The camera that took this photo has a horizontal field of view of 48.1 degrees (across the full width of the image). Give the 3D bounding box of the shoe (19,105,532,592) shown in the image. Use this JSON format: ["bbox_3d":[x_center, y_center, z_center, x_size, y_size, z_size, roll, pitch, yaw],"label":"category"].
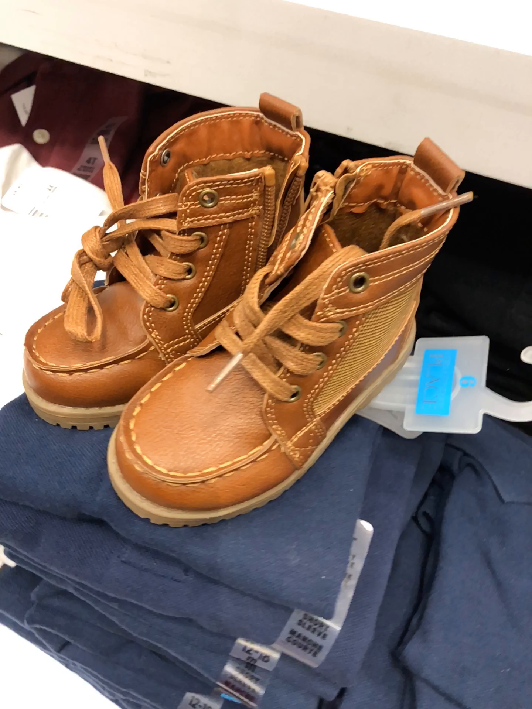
[{"bbox_3d":[0.012,-0.007,0.228,0.161,0.101,0.080,-31,63,-26],"label":"shoe"}]

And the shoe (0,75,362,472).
[{"bbox_3d":[-0.049,-0.040,0.258,0.151,0.101,0.080,-24,51,-21],"label":"shoe"}]
